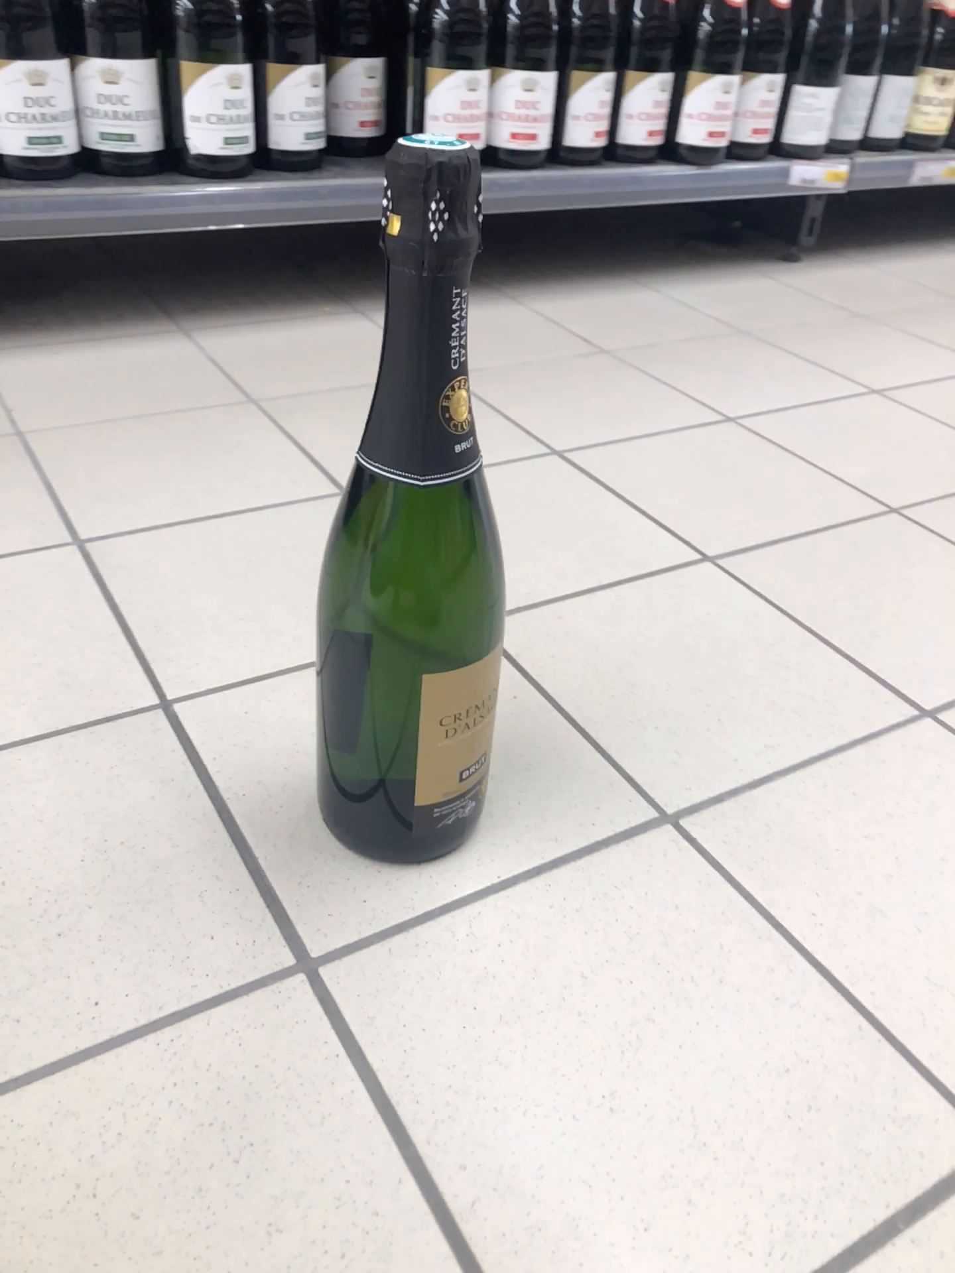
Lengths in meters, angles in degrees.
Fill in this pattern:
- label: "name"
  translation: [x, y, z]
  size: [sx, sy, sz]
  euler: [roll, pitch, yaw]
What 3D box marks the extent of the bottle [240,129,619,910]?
- label: "bottle"
  translation: [-0.027, -0.041, 0.455]
  size: [0.090, 0.308, 0.101]
  euler: [28, 39, 32]
